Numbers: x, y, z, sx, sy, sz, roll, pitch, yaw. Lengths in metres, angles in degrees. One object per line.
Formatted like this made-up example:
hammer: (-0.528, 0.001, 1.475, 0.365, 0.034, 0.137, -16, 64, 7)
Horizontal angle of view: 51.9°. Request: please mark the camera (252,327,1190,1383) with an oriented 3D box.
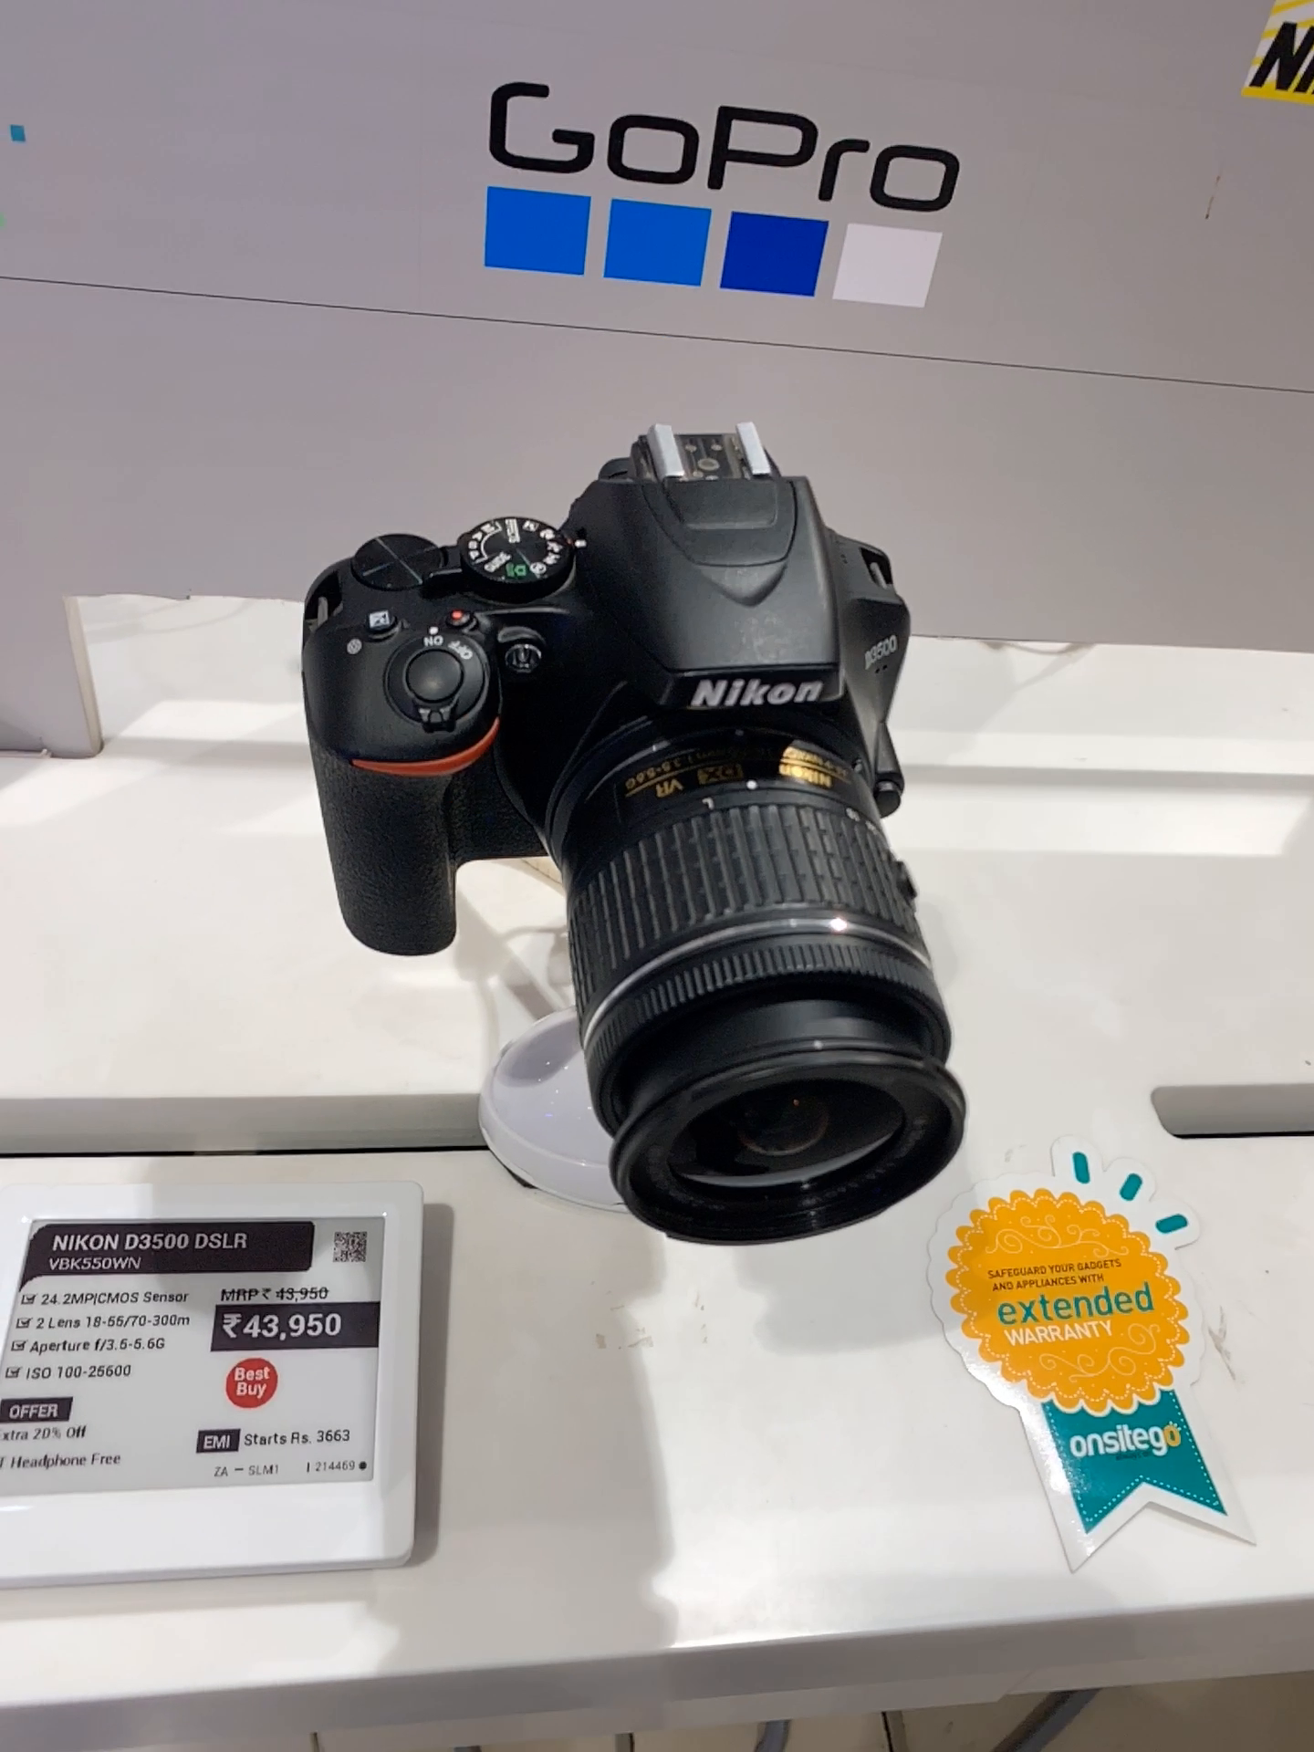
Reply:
camera: (-0.011, -0.018, 0.258, 0.120, 0.090, 0.181, -3, 47, -13)
